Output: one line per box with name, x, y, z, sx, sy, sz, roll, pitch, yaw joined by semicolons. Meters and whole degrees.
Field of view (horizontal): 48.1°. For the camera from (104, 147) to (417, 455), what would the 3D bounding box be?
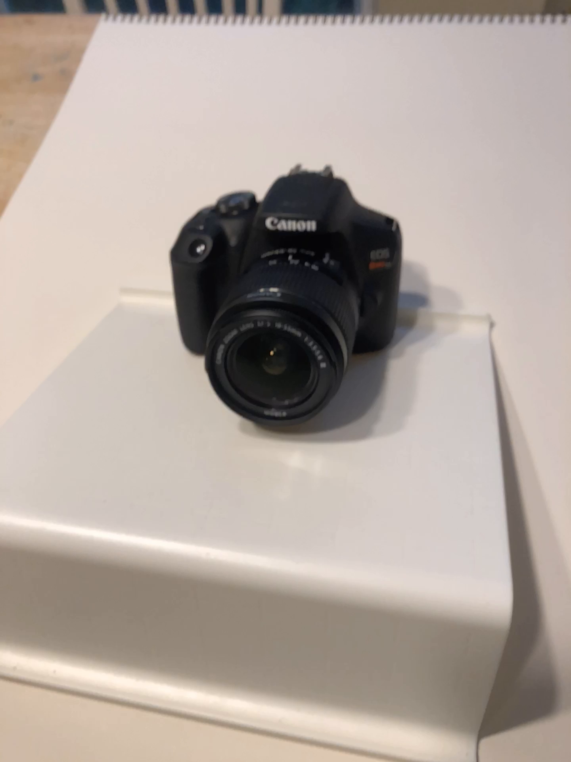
camera;-0.001;-0.053;0.346;0.125;0.104;0.141;7;33;10
